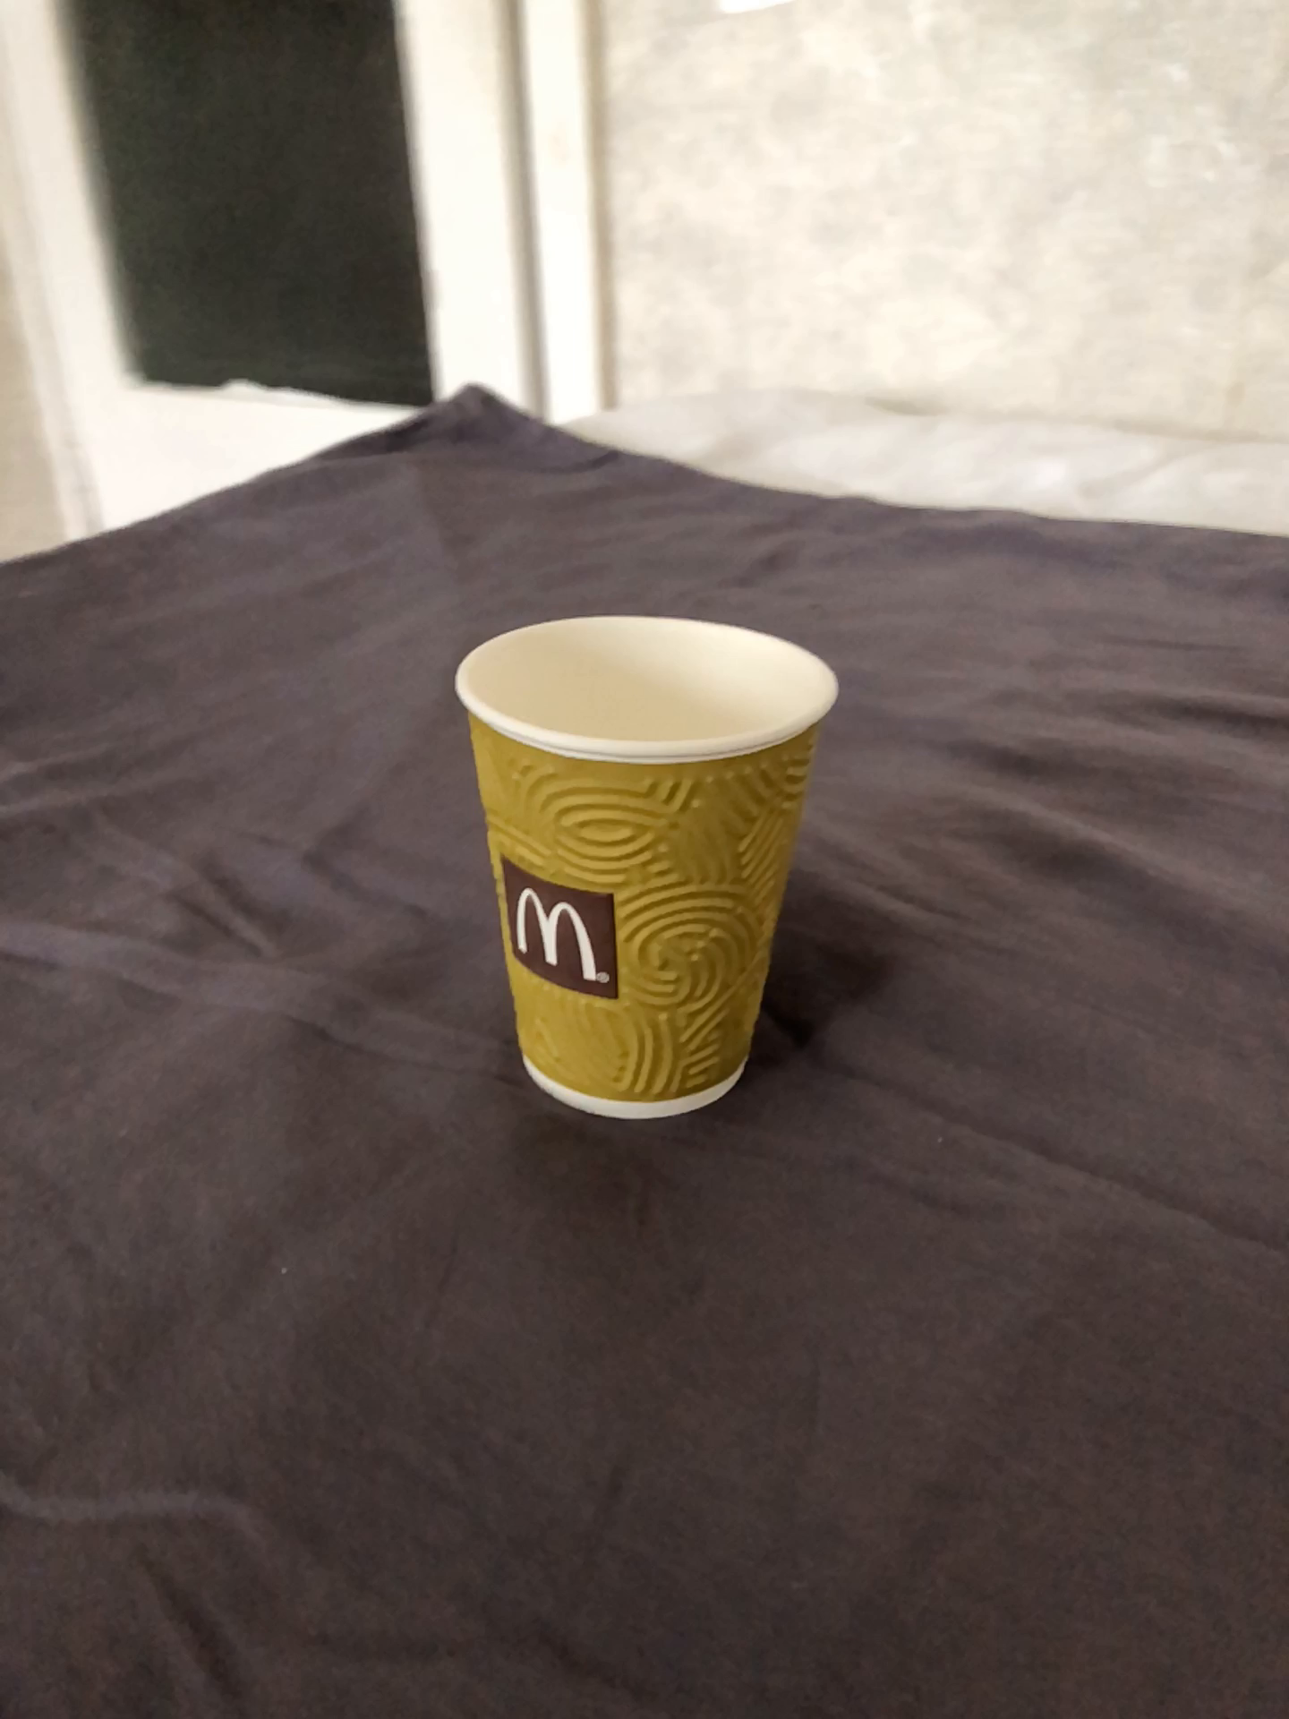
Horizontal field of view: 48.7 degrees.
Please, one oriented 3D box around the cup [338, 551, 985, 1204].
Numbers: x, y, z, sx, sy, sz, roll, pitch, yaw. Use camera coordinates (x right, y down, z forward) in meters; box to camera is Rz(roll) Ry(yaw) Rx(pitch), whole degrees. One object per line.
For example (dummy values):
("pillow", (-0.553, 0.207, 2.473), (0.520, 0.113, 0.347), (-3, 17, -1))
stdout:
("cup", (0.002, -0.006, 0.341), (0.098, 0.101, 0.108), (1, 26, -1))
